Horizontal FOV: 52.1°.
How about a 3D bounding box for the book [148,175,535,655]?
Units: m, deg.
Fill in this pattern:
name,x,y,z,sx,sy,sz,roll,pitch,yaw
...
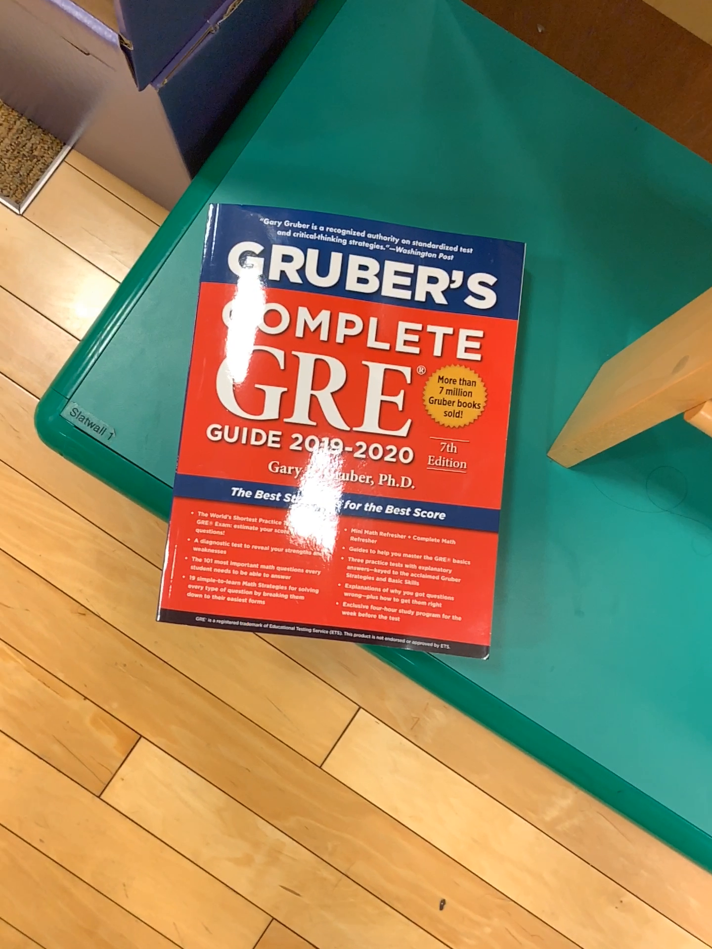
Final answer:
name,x,y,z,sx,sy,sz,roll,pitch,yaw
book,-0.006,-0.039,0.493,0.220,0.040,0.290,7,86,-2
